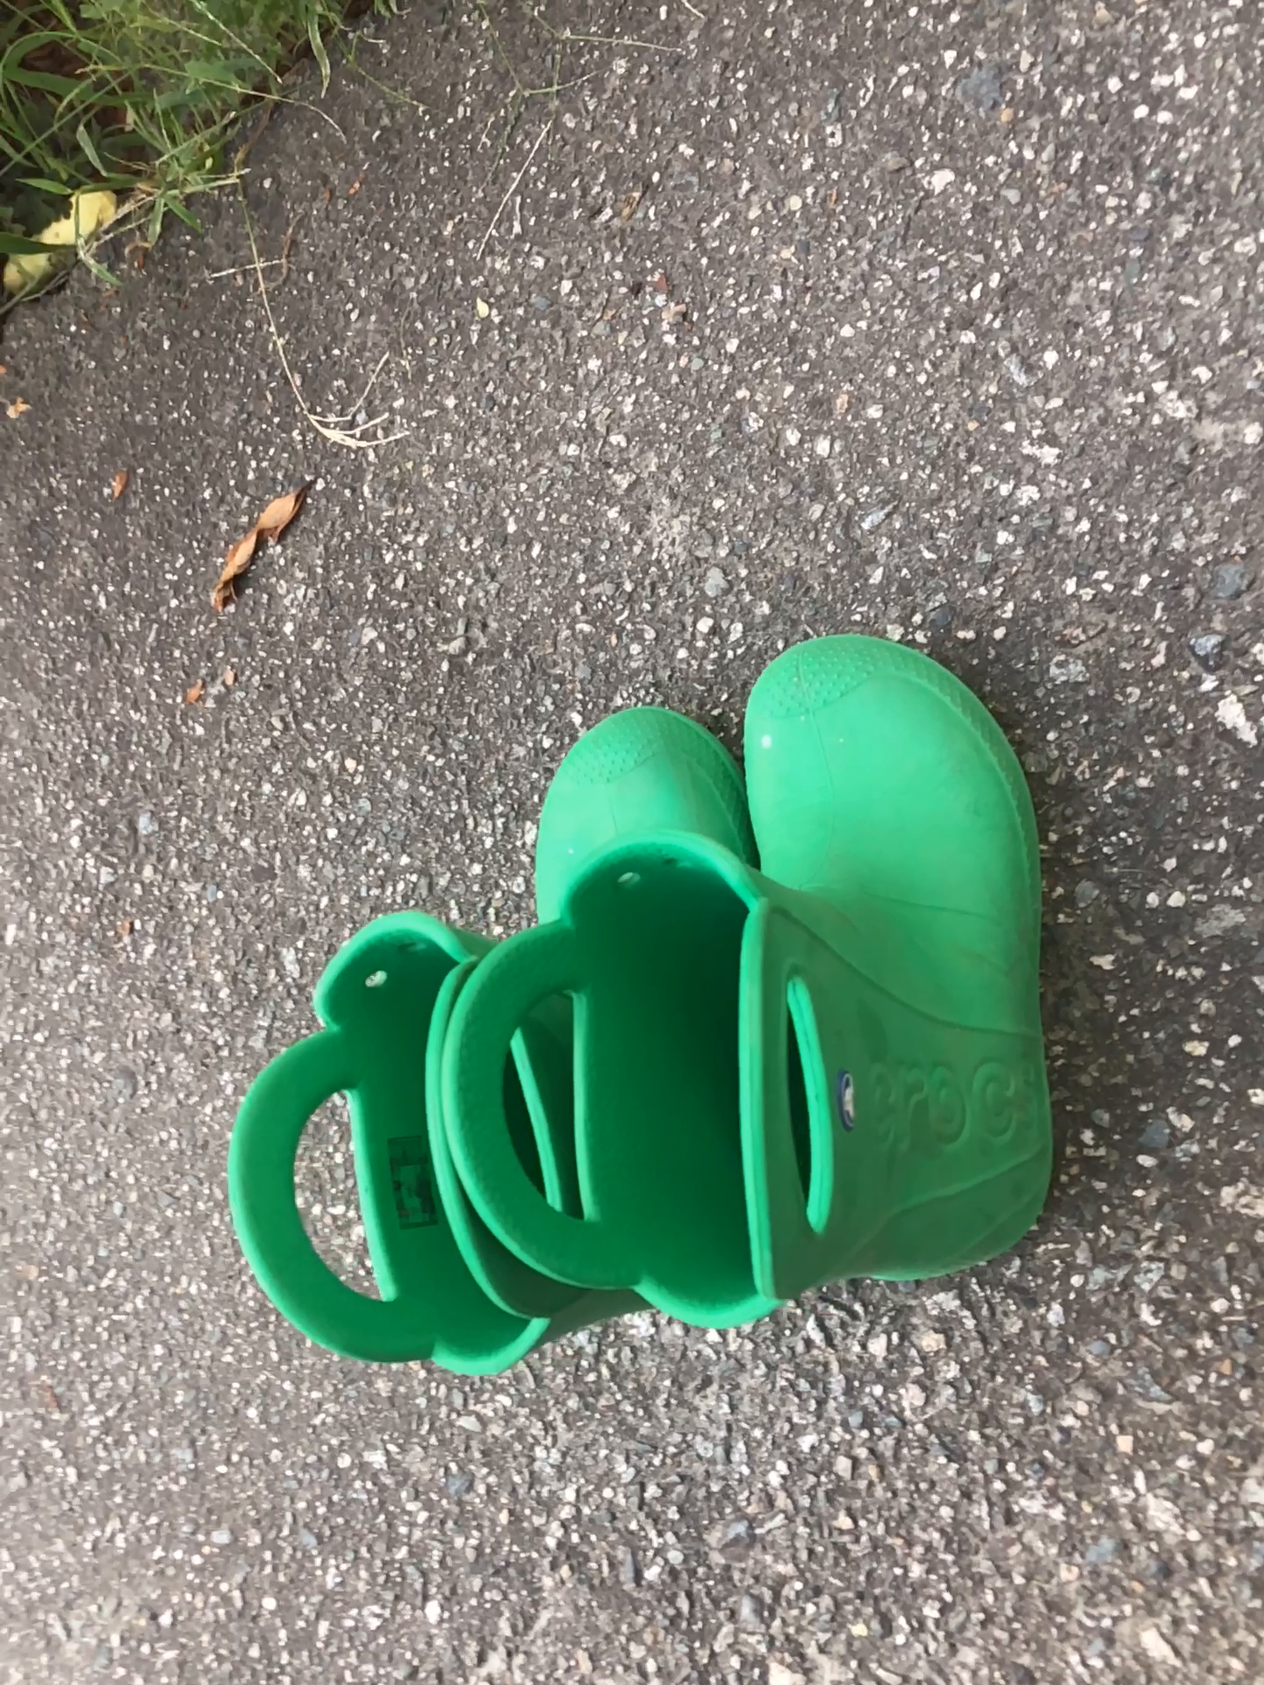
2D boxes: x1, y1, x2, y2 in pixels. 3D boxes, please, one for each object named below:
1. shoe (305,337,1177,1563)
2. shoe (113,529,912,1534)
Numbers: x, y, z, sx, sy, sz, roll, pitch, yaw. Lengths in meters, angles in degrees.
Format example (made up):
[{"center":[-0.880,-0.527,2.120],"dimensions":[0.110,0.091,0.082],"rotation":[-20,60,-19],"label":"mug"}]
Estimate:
[{"center":[0.054,0.031,0.428],"dimensions":[0.110,0.259,0.260],"rotation":[-19,78,28],"label":"shoe"},{"center":[-0.026,0.057,0.471],"dimensions":[0.110,0.229,0.250],"rotation":[-19,78,28],"label":"shoe"}]
